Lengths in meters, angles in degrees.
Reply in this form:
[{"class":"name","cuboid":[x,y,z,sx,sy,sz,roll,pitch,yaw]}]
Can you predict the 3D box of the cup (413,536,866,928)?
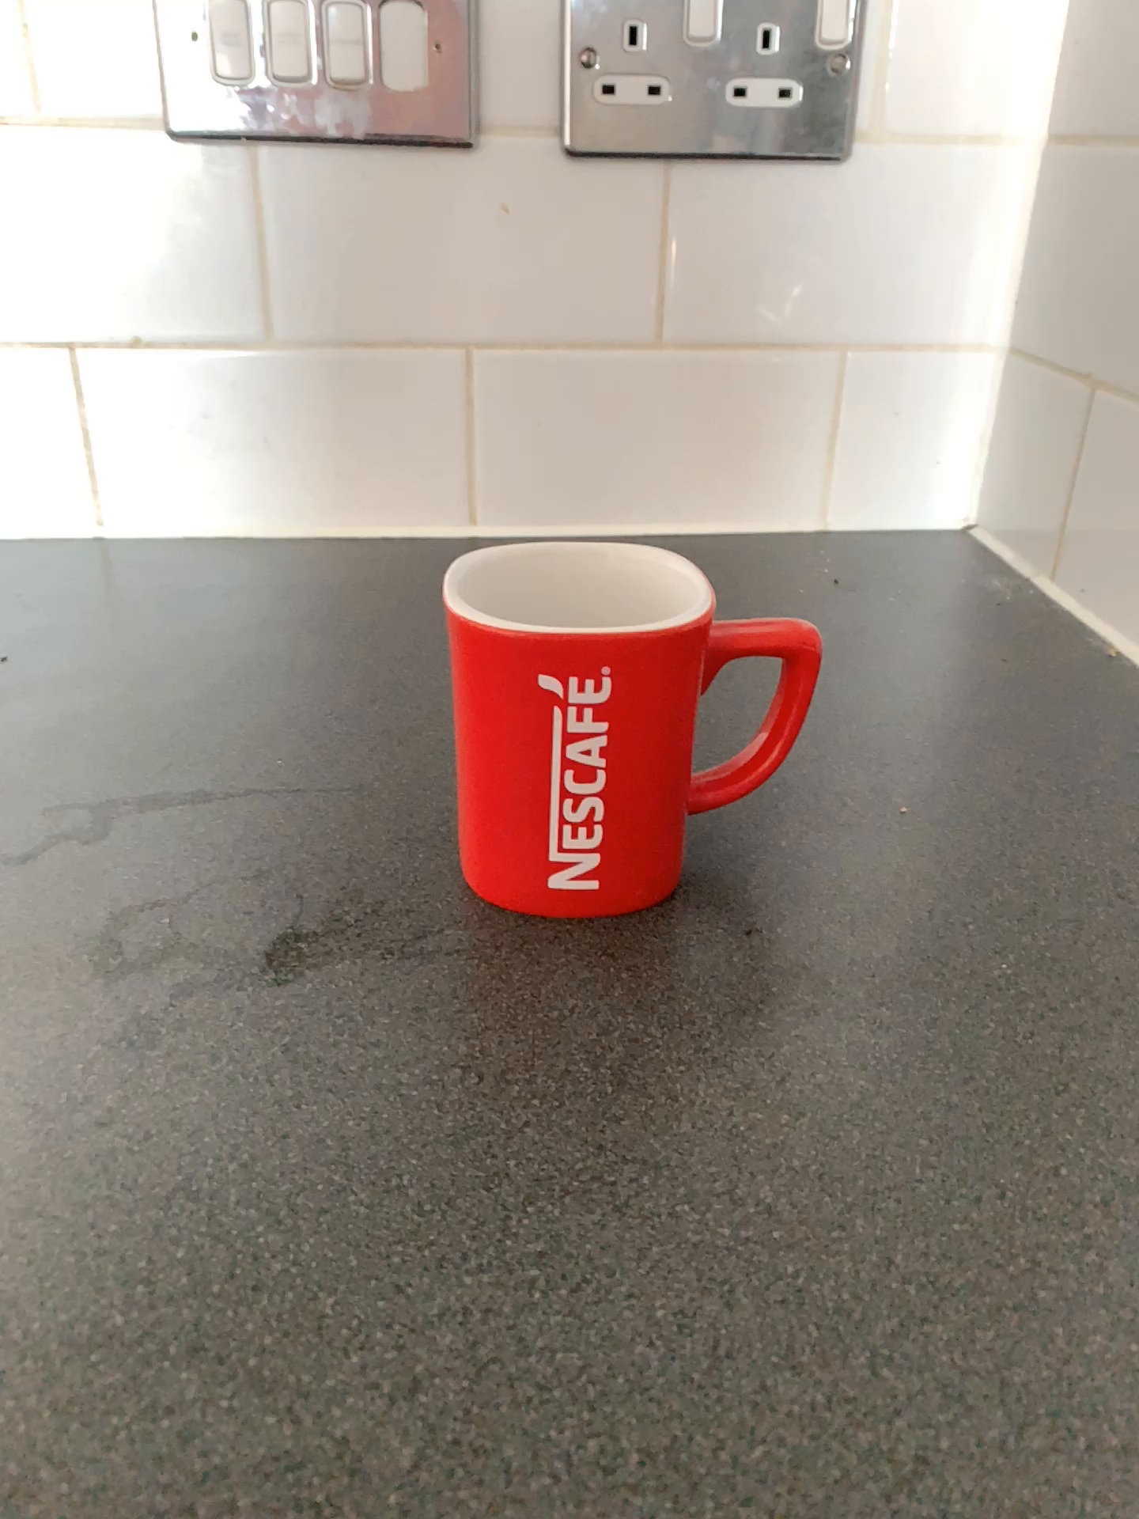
[{"class":"cup","cuboid":[0.015,-0.010,0.339,0.112,0.091,0.067,0,27,-3]}]
